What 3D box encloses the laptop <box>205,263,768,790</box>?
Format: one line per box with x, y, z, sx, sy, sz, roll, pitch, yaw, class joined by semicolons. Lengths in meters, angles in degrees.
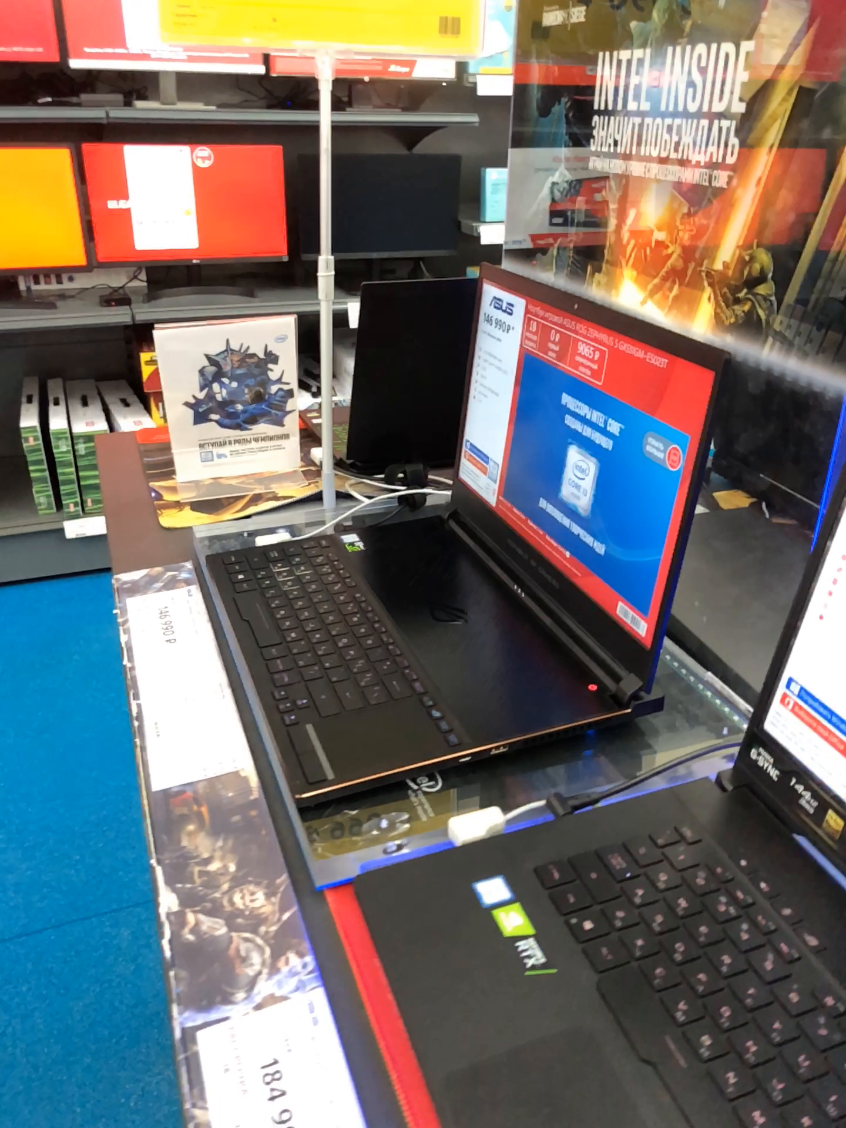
0.010;-0.067;0.702;0.278;0.241;0.351;-10;28;-18;laptop

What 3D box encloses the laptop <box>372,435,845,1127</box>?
0.174;0.121;0.354;0.301;0.219;0.343;-8;27;-15;laptop
